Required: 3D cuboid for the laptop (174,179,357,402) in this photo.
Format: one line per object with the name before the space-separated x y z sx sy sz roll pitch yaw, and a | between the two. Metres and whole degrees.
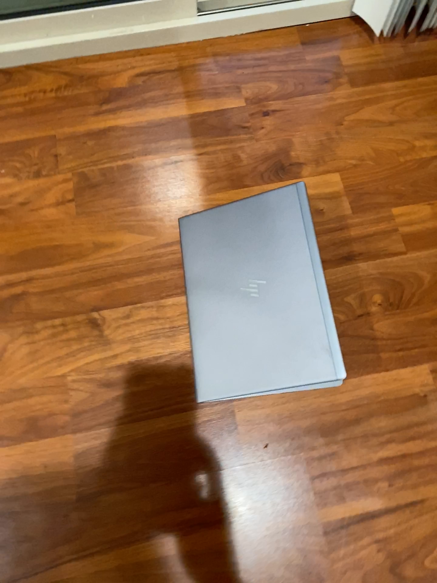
laptop | 0.062 -0.007 0.710 0.230 0.078 0.325 -6 72 -4
